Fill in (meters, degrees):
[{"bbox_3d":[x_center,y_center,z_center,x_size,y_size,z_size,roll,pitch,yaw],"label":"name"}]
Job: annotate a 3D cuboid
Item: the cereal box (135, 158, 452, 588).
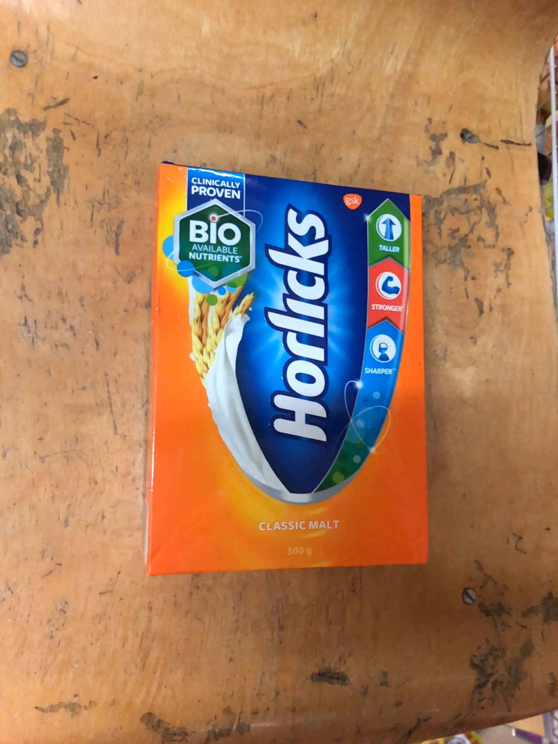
[{"bbox_3d":[0.004,0.004,0.316,0.140,0.080,0.180,3,86,-15],"label":"cereal box"}]
